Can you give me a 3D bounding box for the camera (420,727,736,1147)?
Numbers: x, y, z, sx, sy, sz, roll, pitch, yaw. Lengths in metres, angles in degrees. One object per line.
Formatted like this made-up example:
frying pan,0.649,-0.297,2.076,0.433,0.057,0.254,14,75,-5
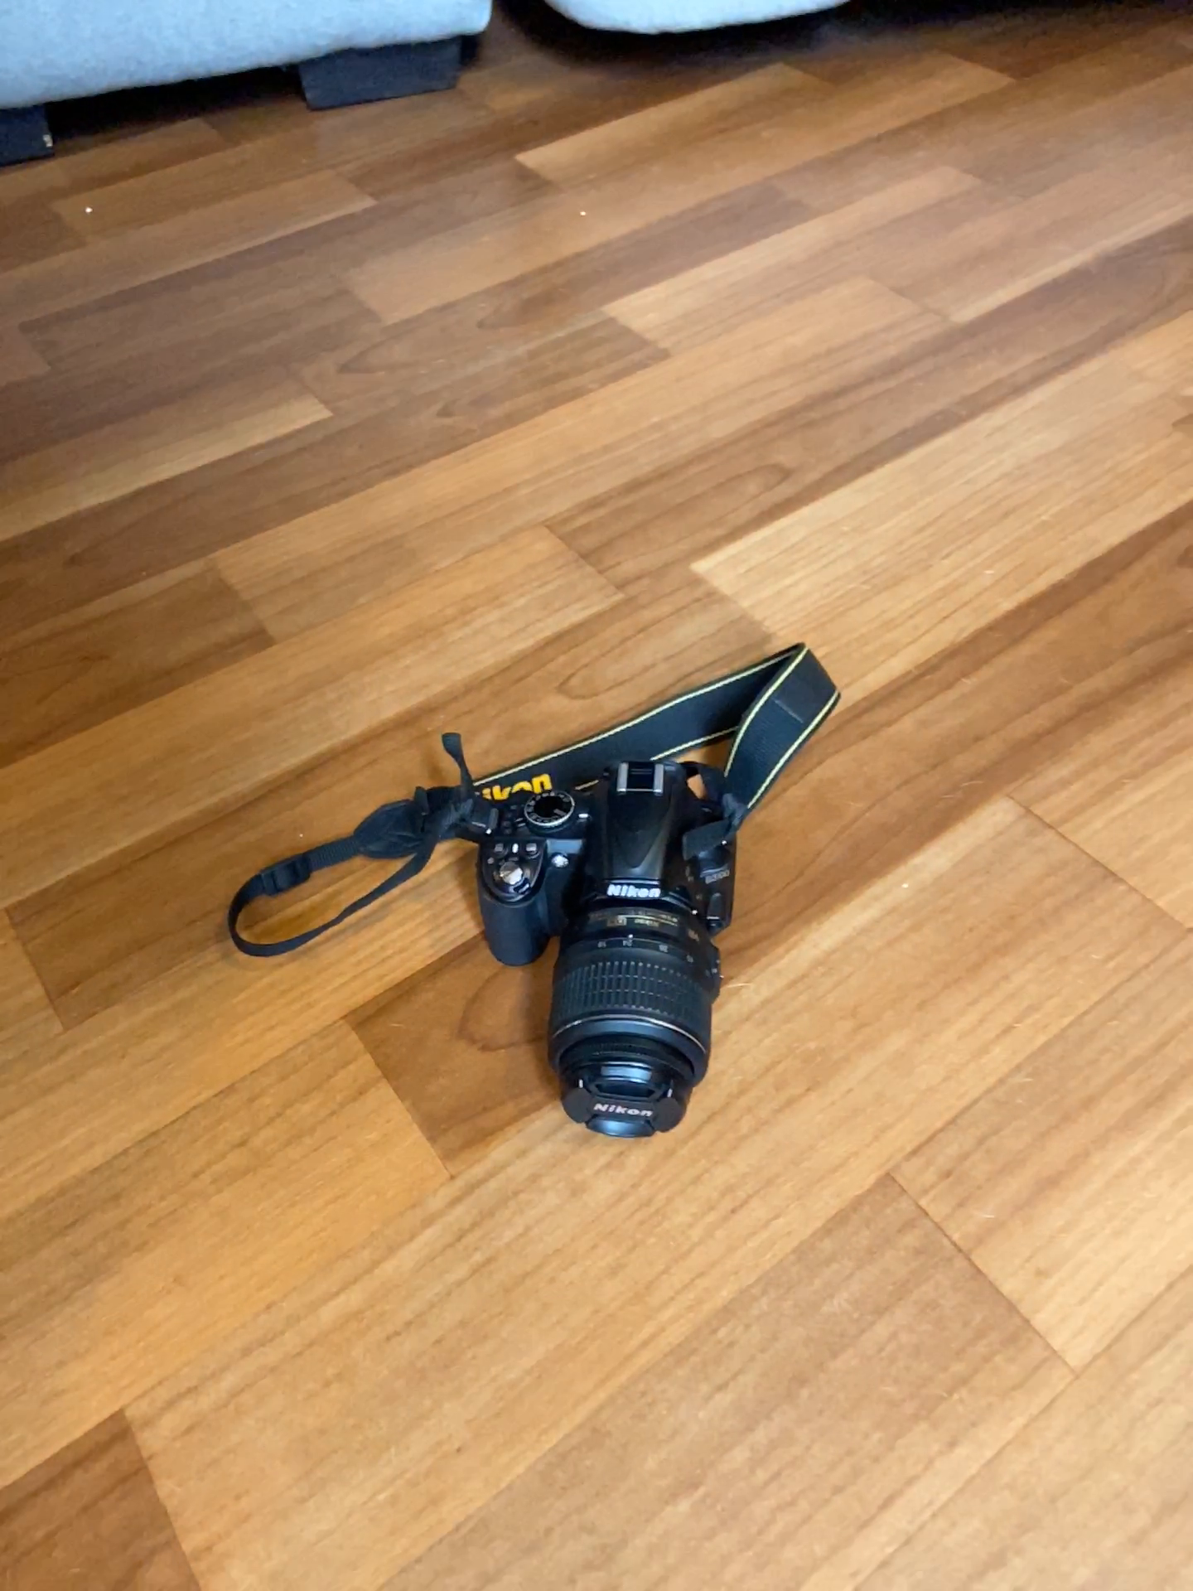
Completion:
camera,0.000,0.060,0.550,0.120,0.090,0.162,1,49,5
